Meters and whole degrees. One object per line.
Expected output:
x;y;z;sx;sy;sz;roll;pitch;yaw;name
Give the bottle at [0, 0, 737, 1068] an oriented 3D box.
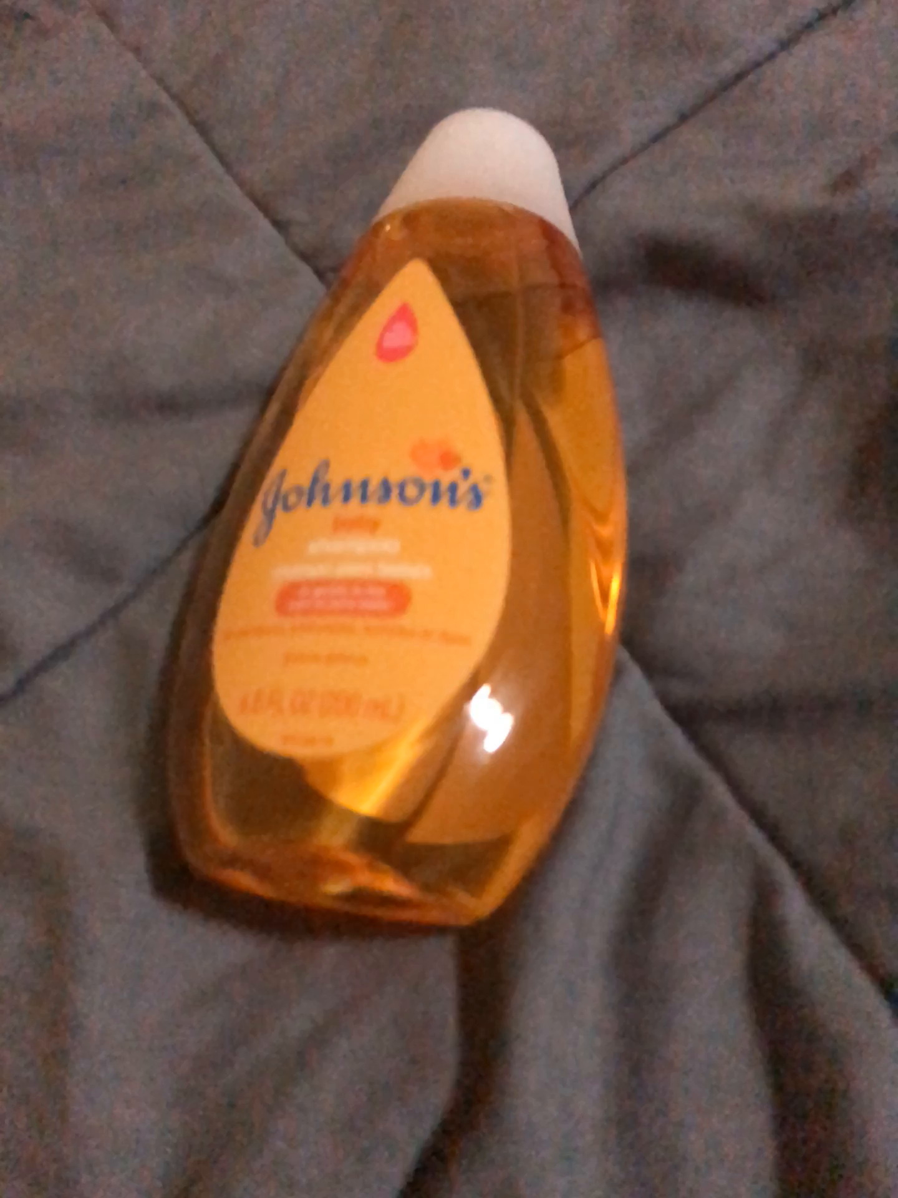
-0.007;-0.021;0.163;0.084;0.040;0.160;6;66;21;bottle
